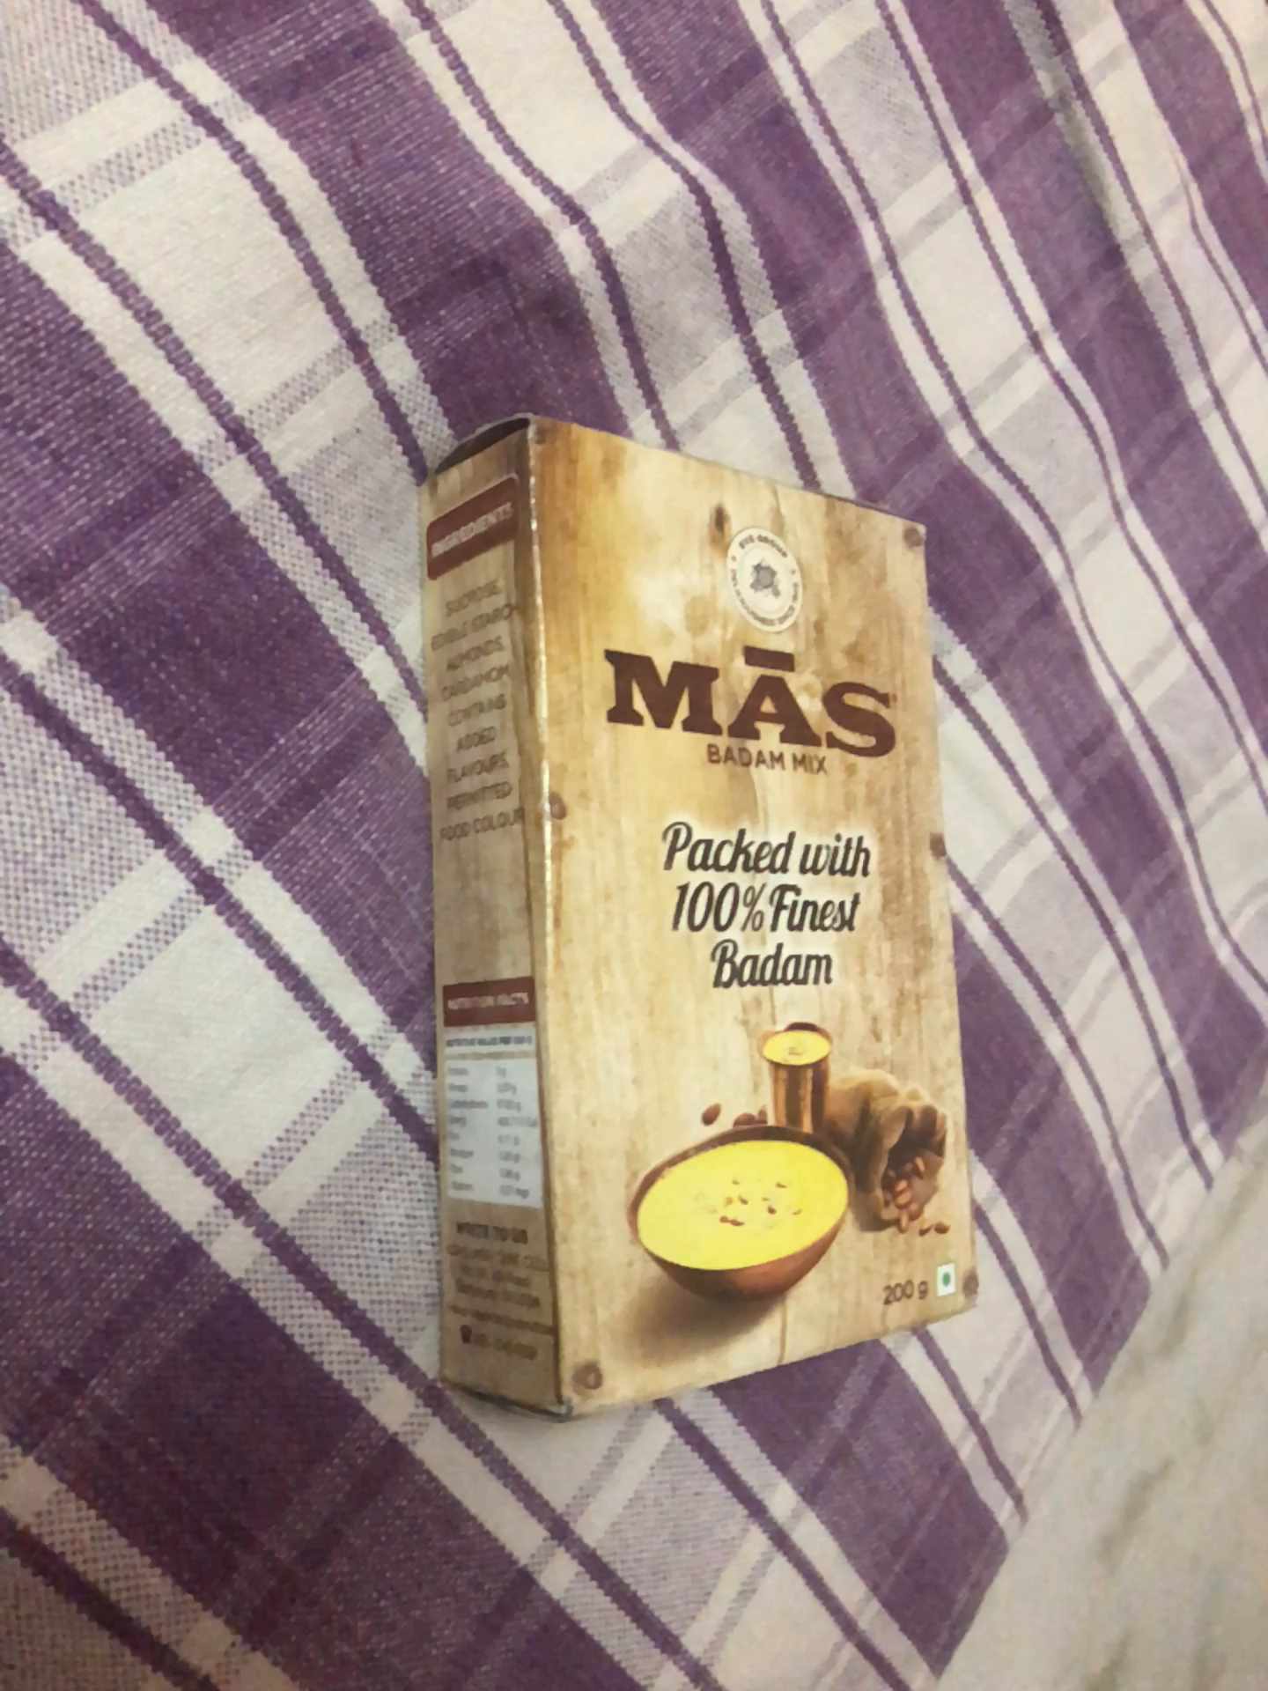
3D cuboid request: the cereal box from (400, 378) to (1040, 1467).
[{"bbox_3d":[0.015,0.009,0.208,0.090,0.030,0.130,1,84,-38],"label":"cereal box"}]
